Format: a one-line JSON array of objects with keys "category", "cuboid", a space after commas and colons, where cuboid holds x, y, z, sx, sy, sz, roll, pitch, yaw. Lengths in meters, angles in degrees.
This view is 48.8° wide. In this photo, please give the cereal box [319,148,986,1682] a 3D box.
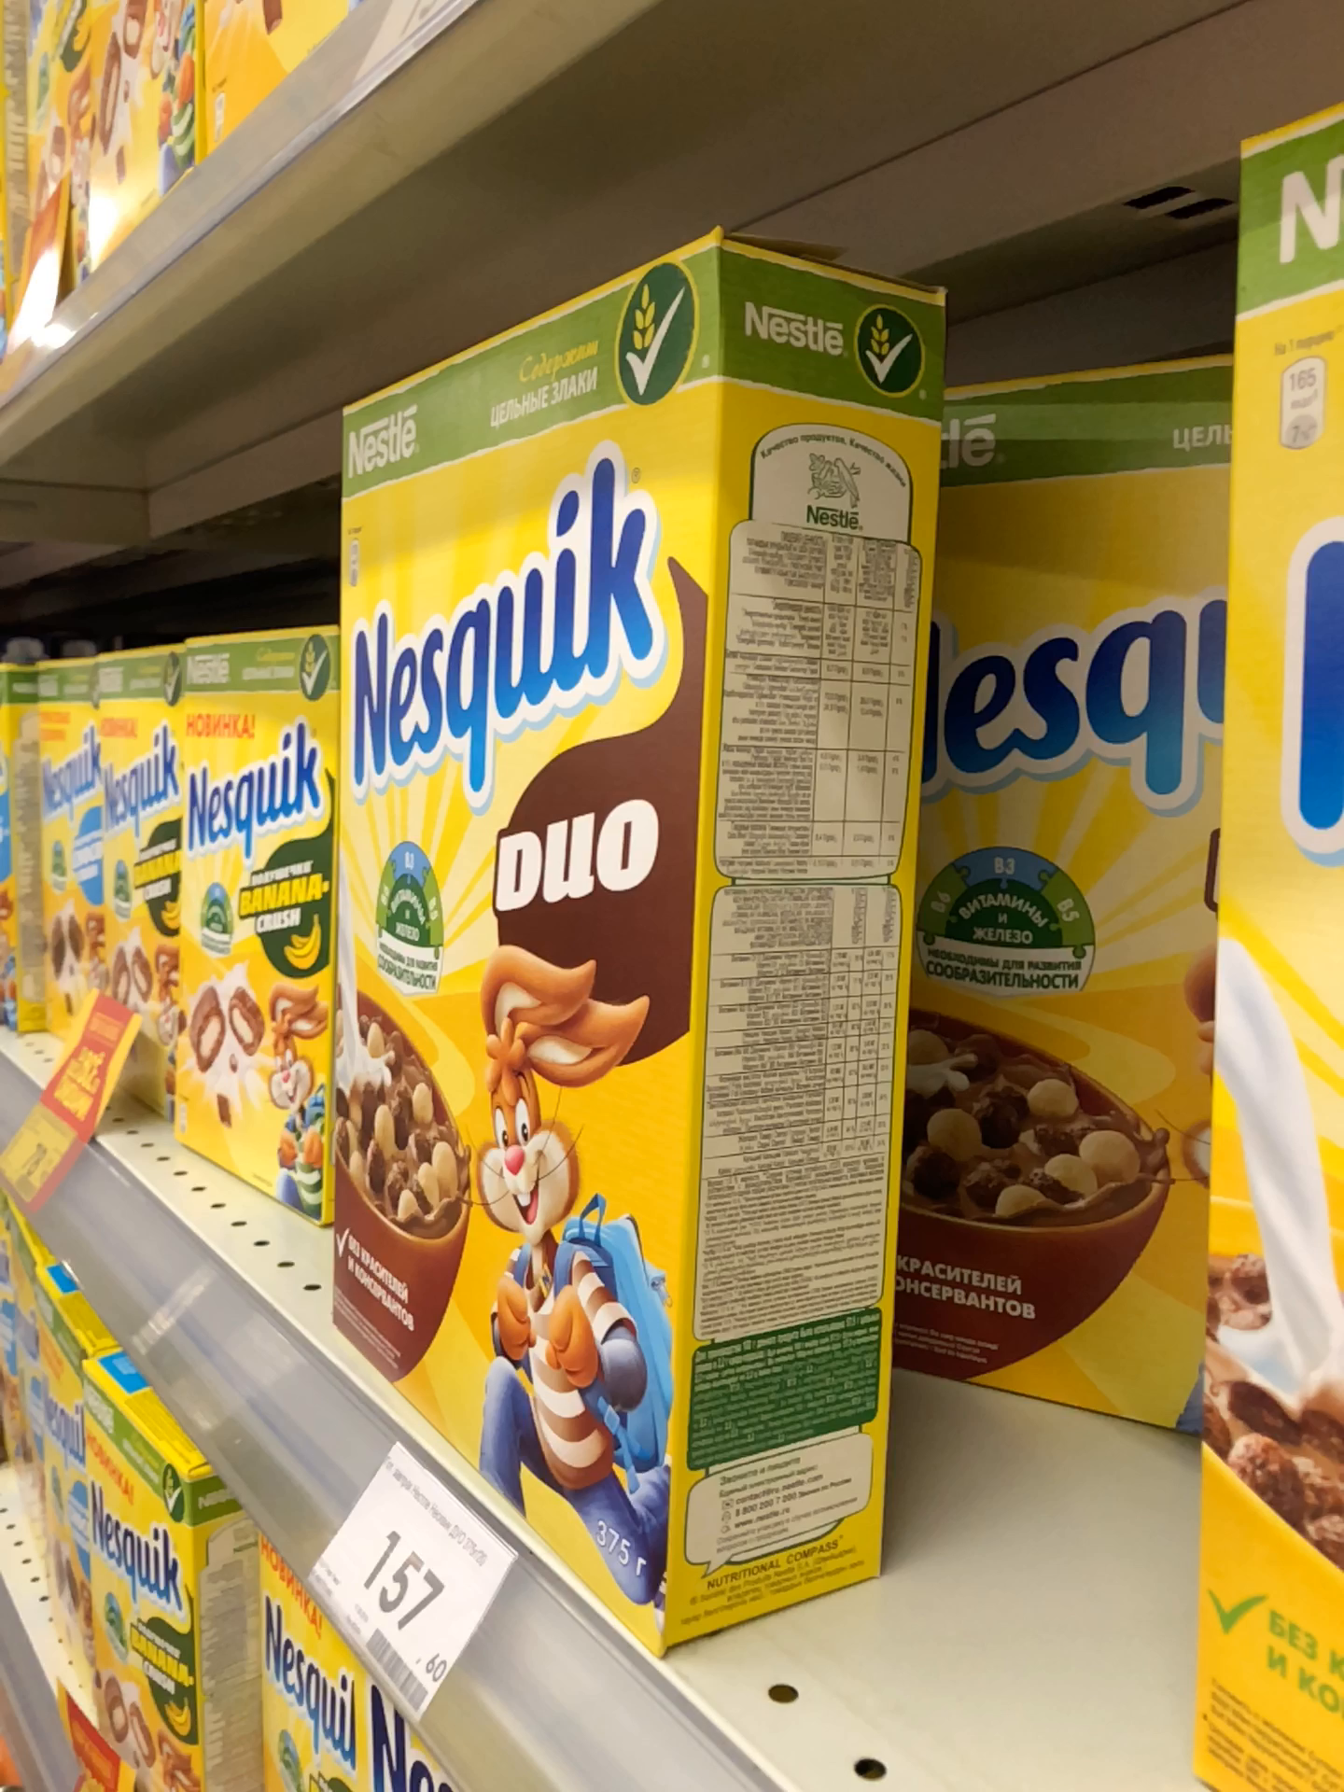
[{"category": "cereal box", "cuboid": [-0.023, -0.002, 0.369, 0.060, 0.280, 0.200, 0, 6, -32]}]
